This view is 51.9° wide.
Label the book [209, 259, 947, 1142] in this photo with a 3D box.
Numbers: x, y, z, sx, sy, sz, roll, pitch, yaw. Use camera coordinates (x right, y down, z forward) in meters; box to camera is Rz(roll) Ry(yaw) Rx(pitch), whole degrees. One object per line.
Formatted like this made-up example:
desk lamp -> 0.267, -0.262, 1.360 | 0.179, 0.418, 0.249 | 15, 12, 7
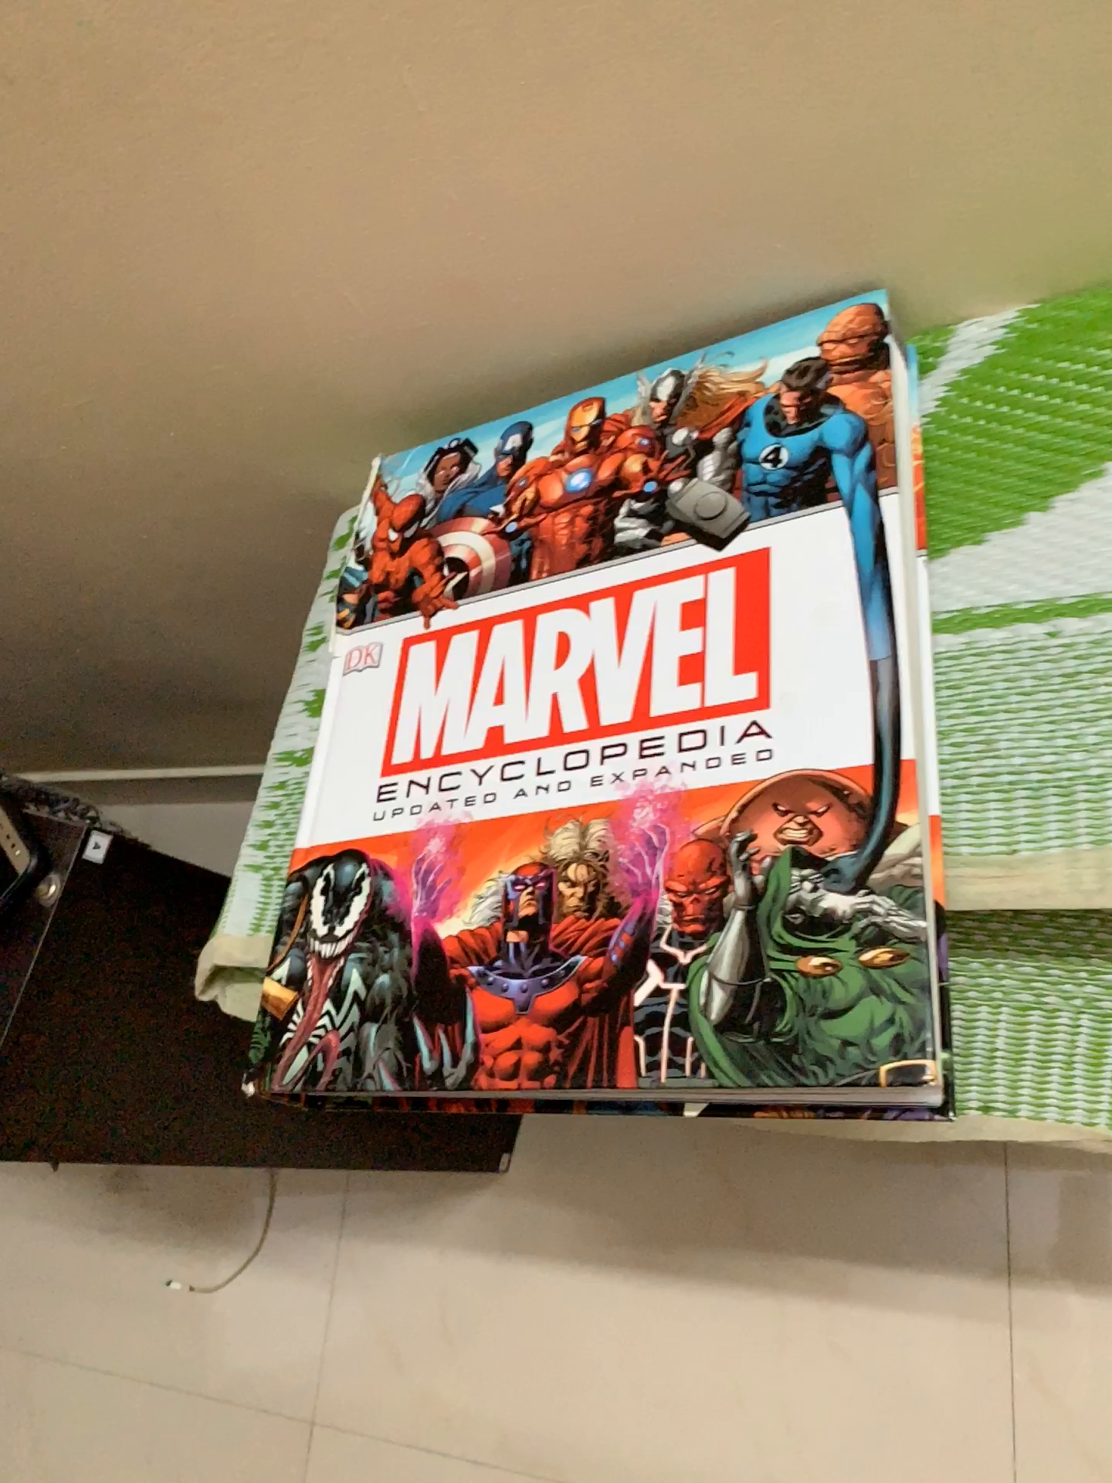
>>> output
book -> 0.007, -0.017, 0.452 | 0.261, 0.040, 0.321 | -9, 60, 29
